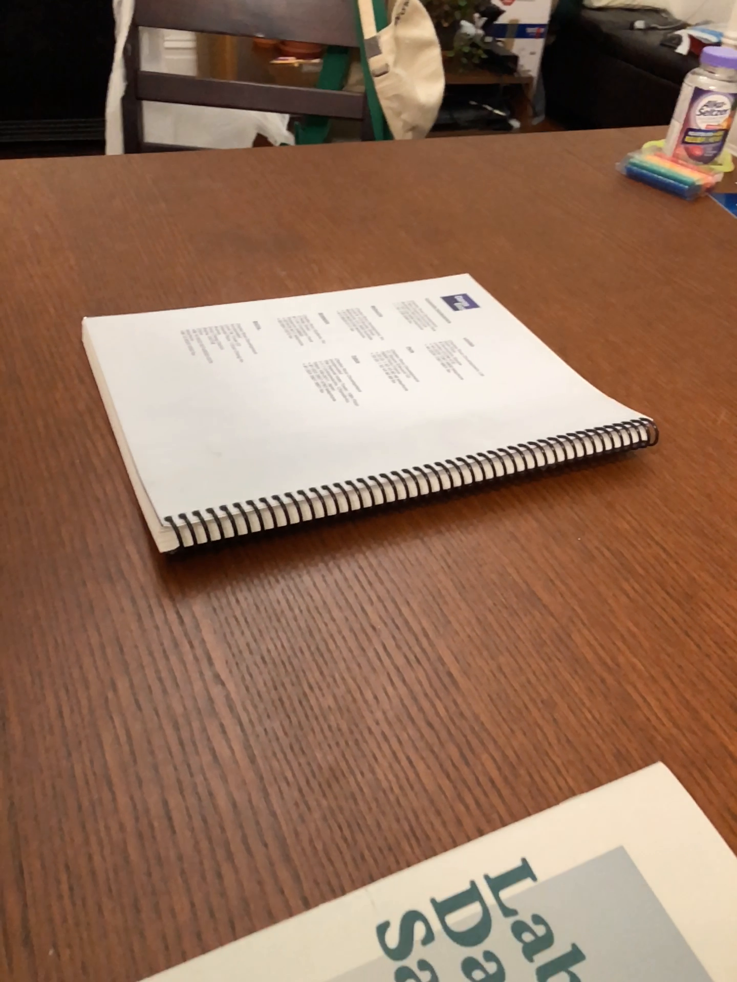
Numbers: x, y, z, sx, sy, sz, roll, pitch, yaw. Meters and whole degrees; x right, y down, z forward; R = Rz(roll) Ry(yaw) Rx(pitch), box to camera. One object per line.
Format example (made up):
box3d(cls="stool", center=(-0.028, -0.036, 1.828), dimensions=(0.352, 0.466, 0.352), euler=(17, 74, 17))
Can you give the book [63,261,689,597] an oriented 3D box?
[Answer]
box3d(cls="book", center=(-0.005, -0.063, 0.484), dimensions=(0.301, 0.020, 0.231), euler=(-13, 44, -22))
